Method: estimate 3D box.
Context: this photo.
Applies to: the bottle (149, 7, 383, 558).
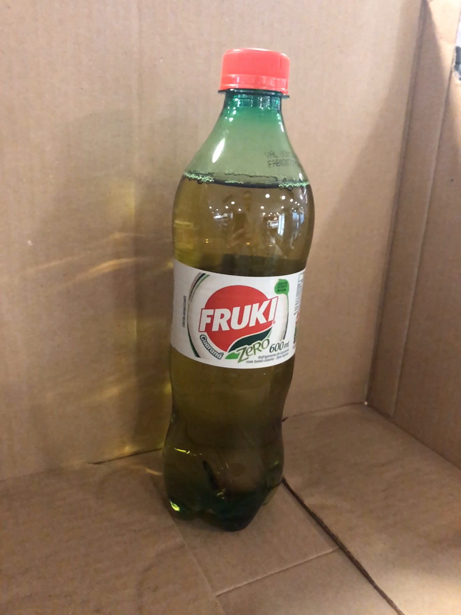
[{"bbox_3d":[0.004,-0.005,0.262,0.080,0.239,0.080,4,17,-1],"label":"bottle"}]
